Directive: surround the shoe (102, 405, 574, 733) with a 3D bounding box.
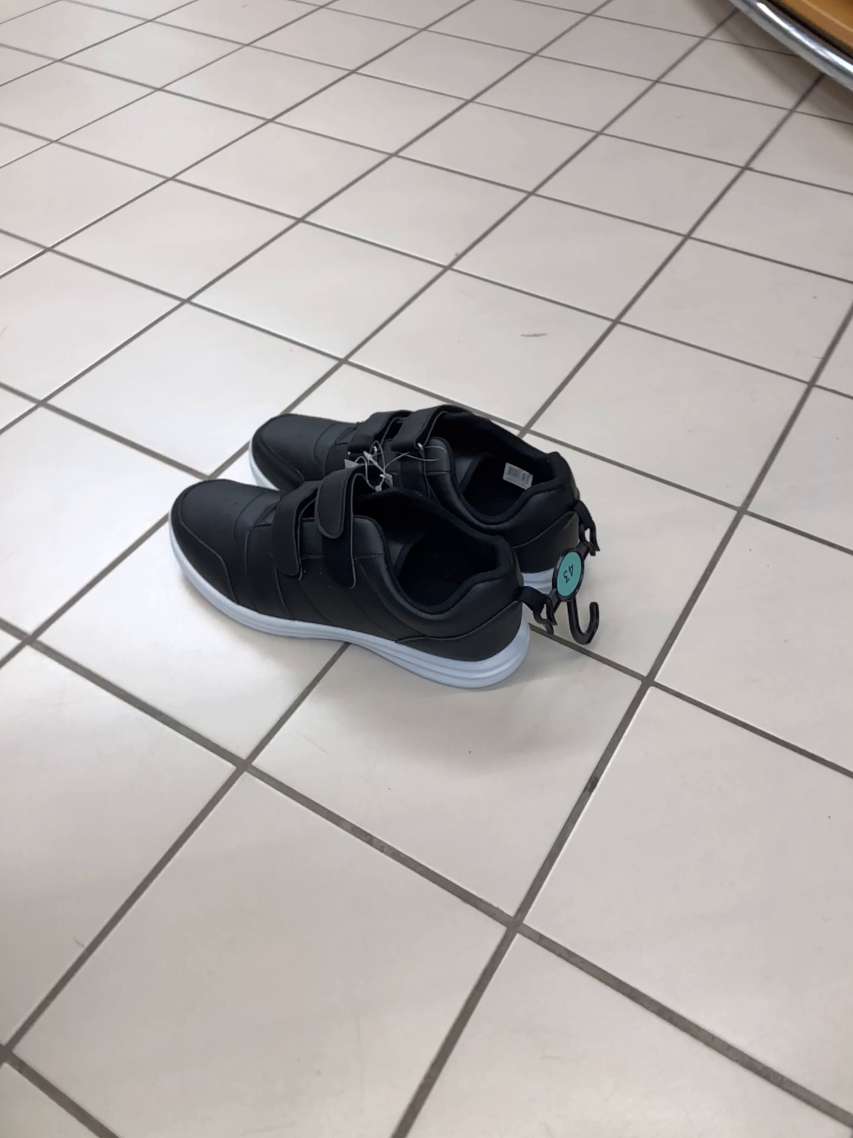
[{"bbox_3d":[-0.063,-0.007,0.670,0.310,0.099,0.101,20,51,17],"label":"shoe"}]

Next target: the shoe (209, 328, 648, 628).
[{"bbox_3d":[-0.003,-0.077,0.722,0.310,0.099,0.101,21,51,18],"label":"shoe"}]
